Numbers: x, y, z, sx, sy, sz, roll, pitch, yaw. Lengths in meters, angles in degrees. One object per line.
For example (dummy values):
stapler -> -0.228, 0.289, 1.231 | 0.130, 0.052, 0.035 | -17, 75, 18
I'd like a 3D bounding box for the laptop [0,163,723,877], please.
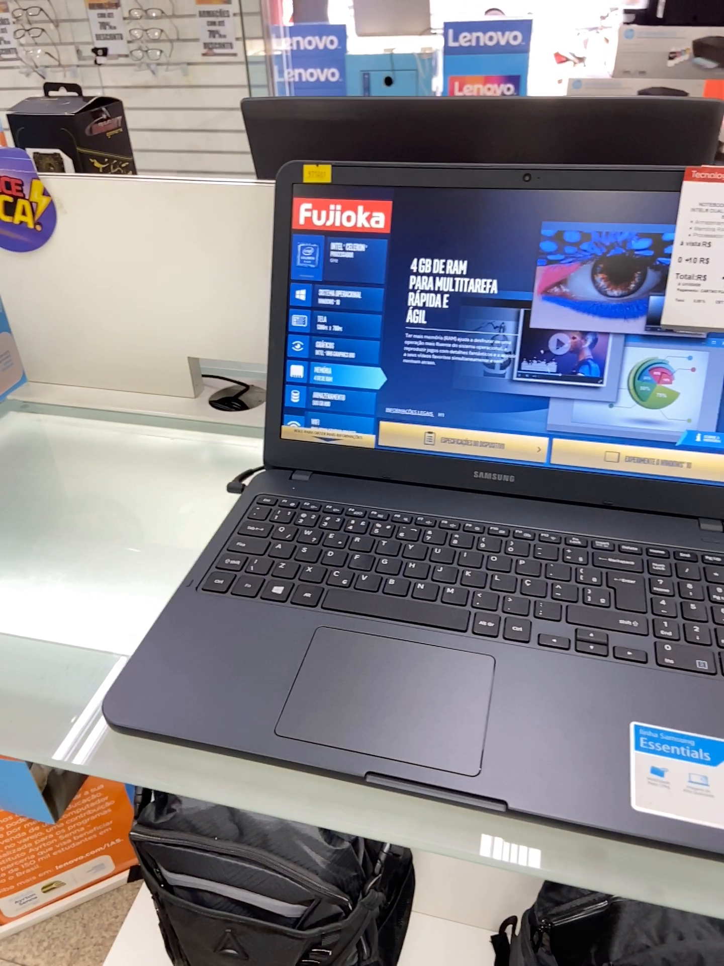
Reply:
laptop -> 0.075, -0.038, 0.437 | 0.366, 0.207, 0.348 | 6, 36, 14
